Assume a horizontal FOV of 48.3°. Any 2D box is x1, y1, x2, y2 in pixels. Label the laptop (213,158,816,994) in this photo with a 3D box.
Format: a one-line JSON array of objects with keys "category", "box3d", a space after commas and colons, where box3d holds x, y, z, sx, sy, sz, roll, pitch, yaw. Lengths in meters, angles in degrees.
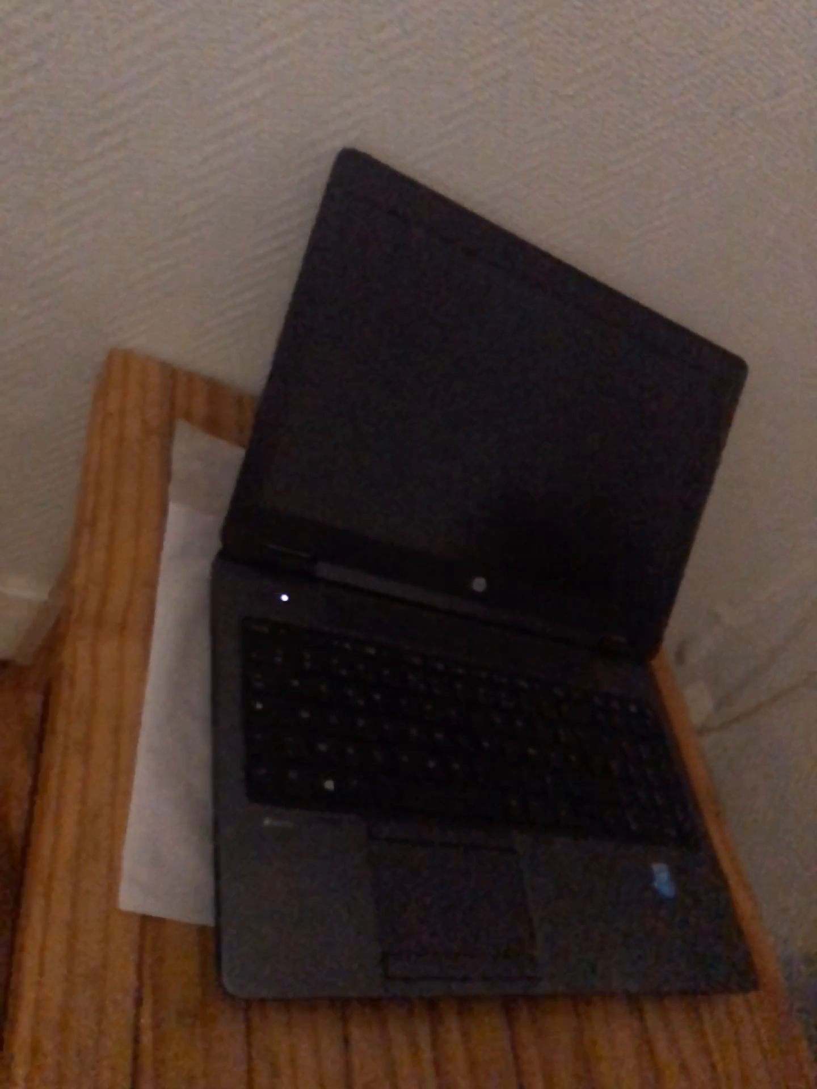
[{"category": "laptop", "box3d": [0.099, 0.032, 0.576, 0.383, 0.195, 0.410, 17, 44, -31]}]
